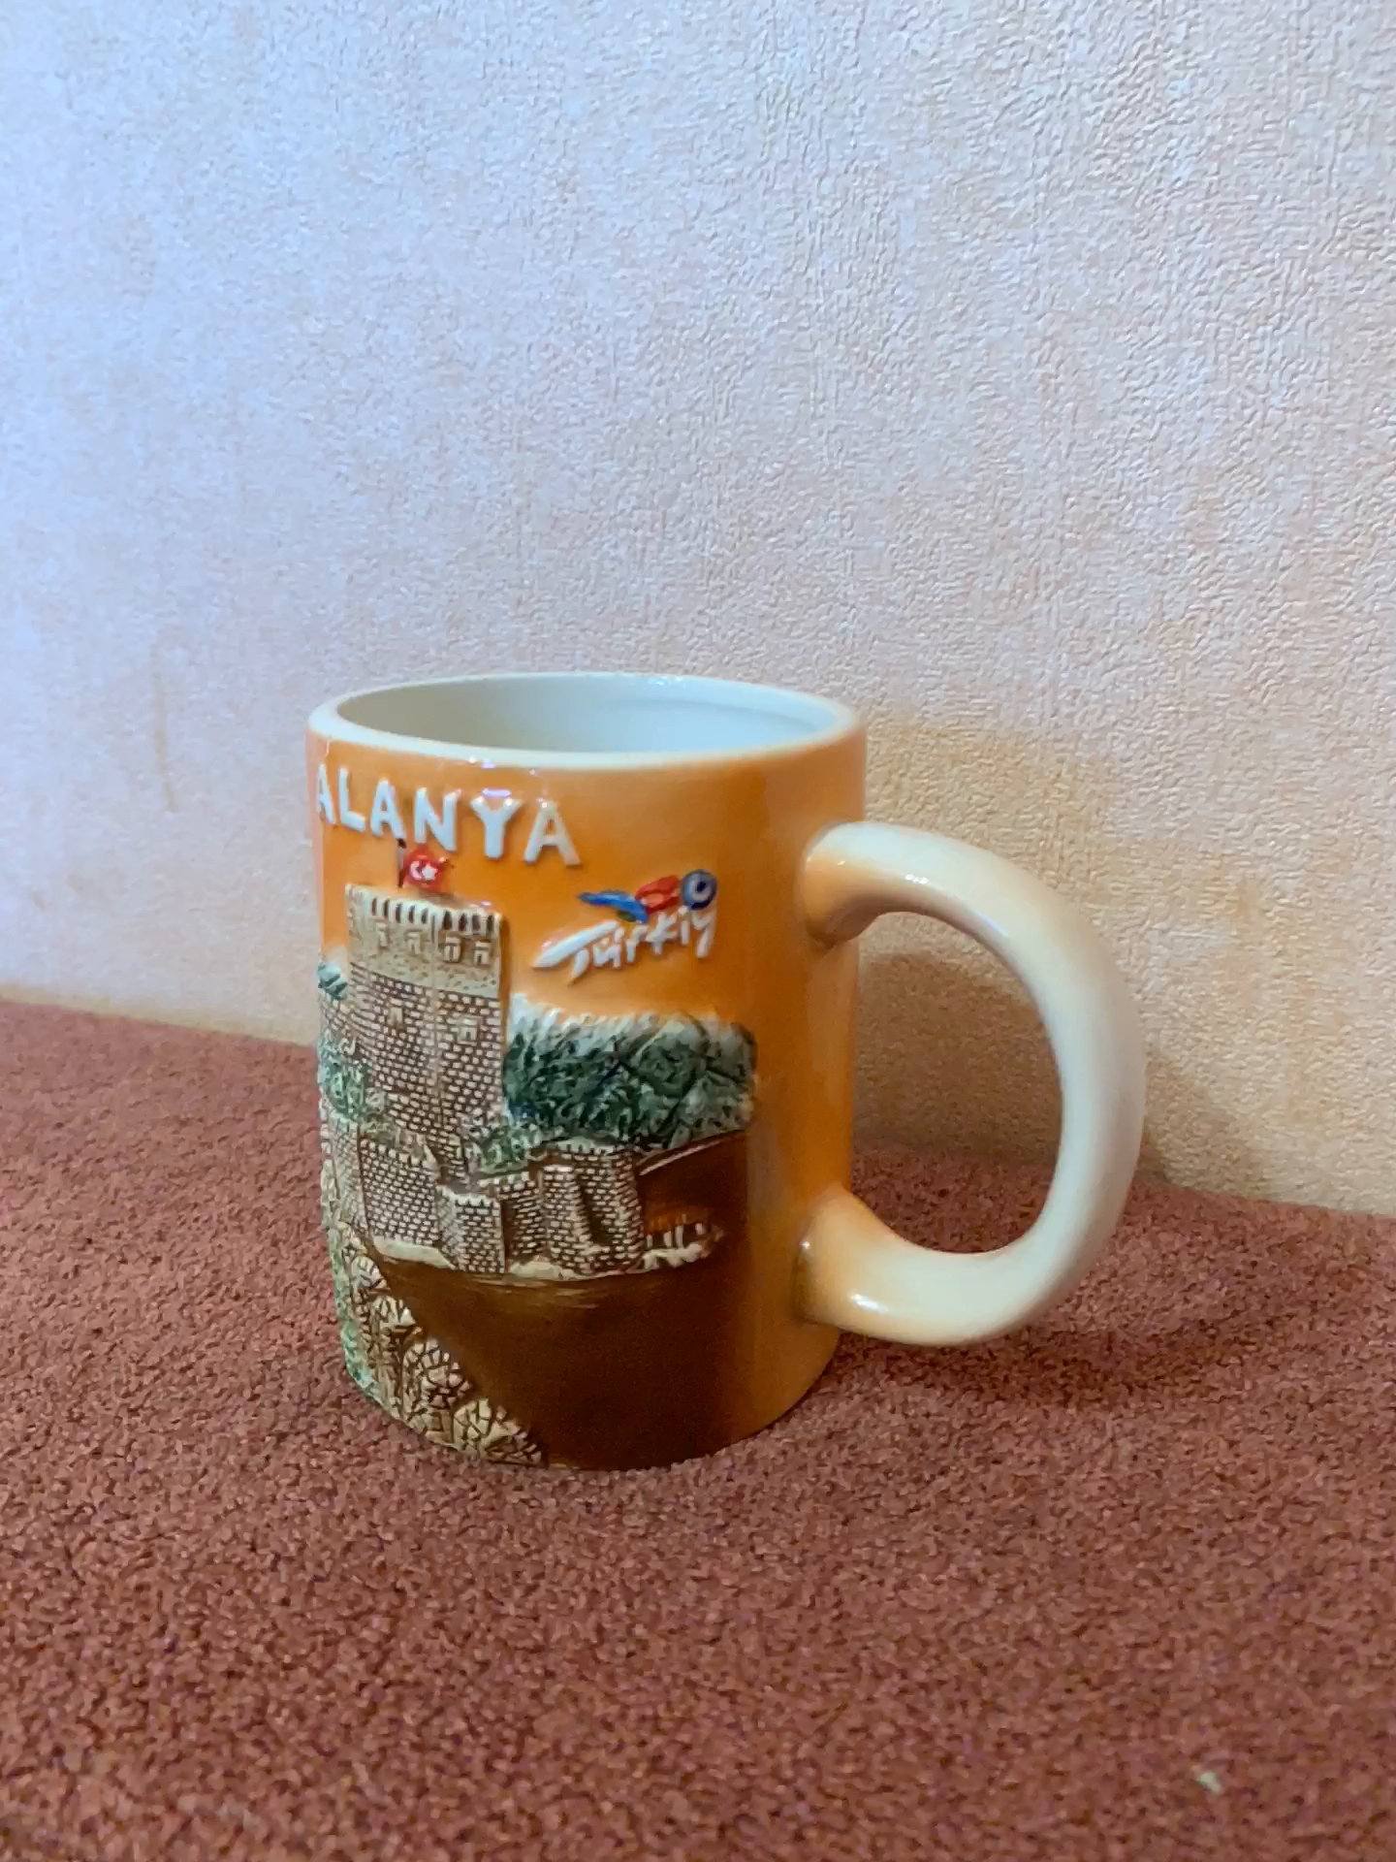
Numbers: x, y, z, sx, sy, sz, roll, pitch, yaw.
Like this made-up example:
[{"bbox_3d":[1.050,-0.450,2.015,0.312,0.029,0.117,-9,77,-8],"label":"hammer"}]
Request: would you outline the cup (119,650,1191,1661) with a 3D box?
[{"bbox_3d":[-0.001,0.016,0.214,0.120,0.098,0.088,8,20,26],"label":"cup"}]
